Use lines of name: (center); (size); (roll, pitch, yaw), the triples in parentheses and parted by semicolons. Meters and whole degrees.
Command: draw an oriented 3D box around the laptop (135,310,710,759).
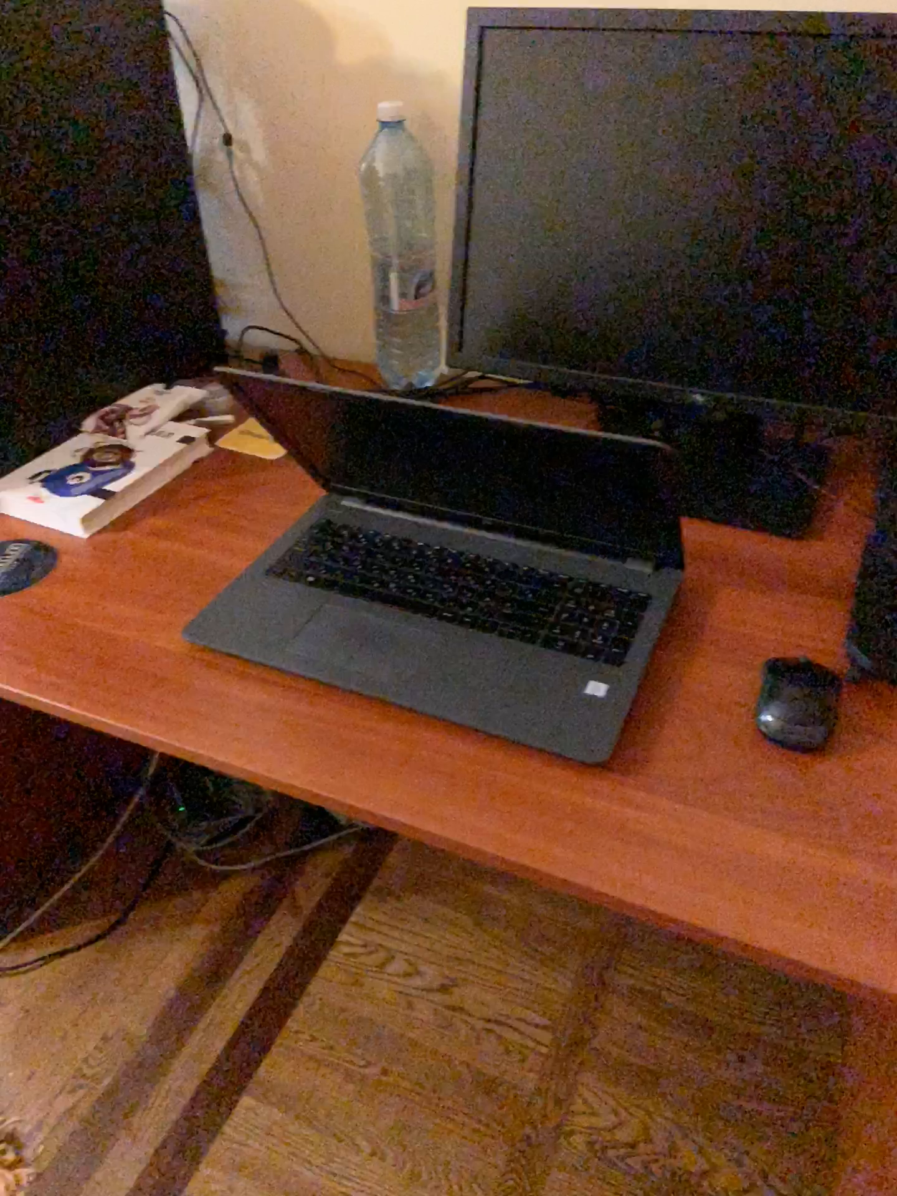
laptop: (-0.011, -0.073, 0.719); (0.360, 0.191, 0.233); (14, 40, 21)
